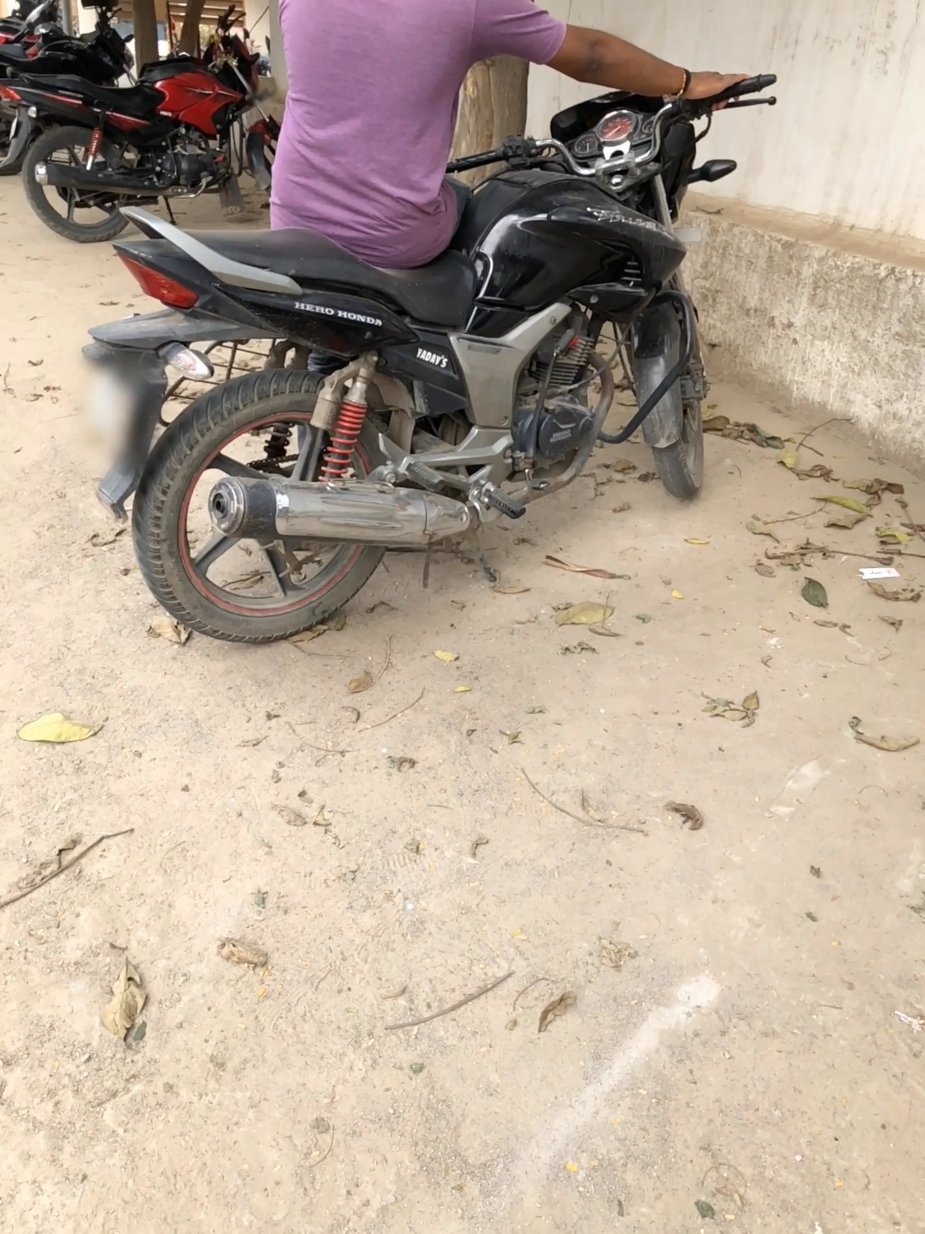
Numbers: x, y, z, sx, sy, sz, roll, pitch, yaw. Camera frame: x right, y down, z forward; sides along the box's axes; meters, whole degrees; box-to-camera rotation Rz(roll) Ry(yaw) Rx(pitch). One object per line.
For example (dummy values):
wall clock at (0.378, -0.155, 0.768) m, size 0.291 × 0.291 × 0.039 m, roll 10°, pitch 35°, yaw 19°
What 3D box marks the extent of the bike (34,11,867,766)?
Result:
bike at (0.061, -0.767, 2.484) m, size 1.847 × 1.190 × 0.825 m, roll -27°, pitch 40°, yaw -37°
